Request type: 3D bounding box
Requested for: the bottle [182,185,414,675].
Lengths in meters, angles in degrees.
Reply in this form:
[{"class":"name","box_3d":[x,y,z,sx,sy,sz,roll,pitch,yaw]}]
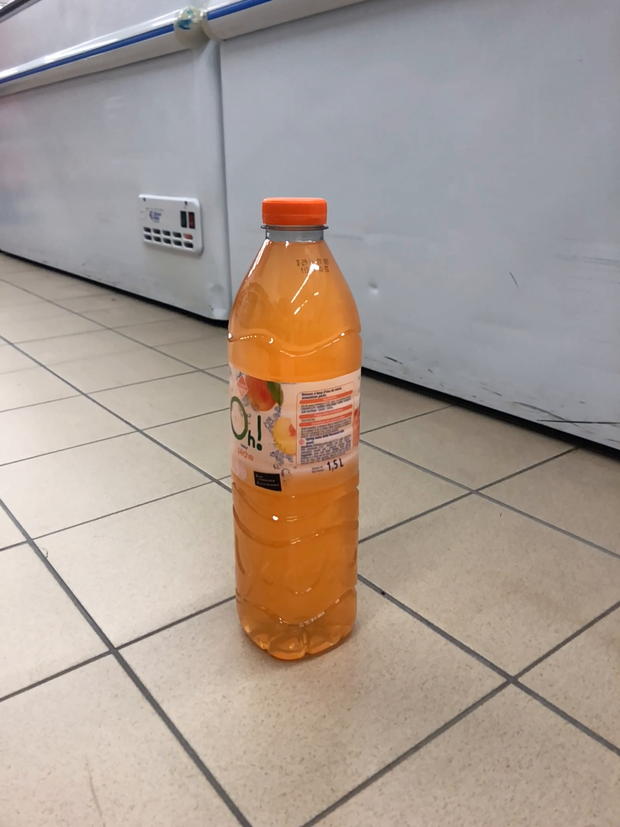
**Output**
[{"class":"bottle","box_3d":[-0.008,0.004,0.460,0.100,0.299,0.100,0,19,0]}]
